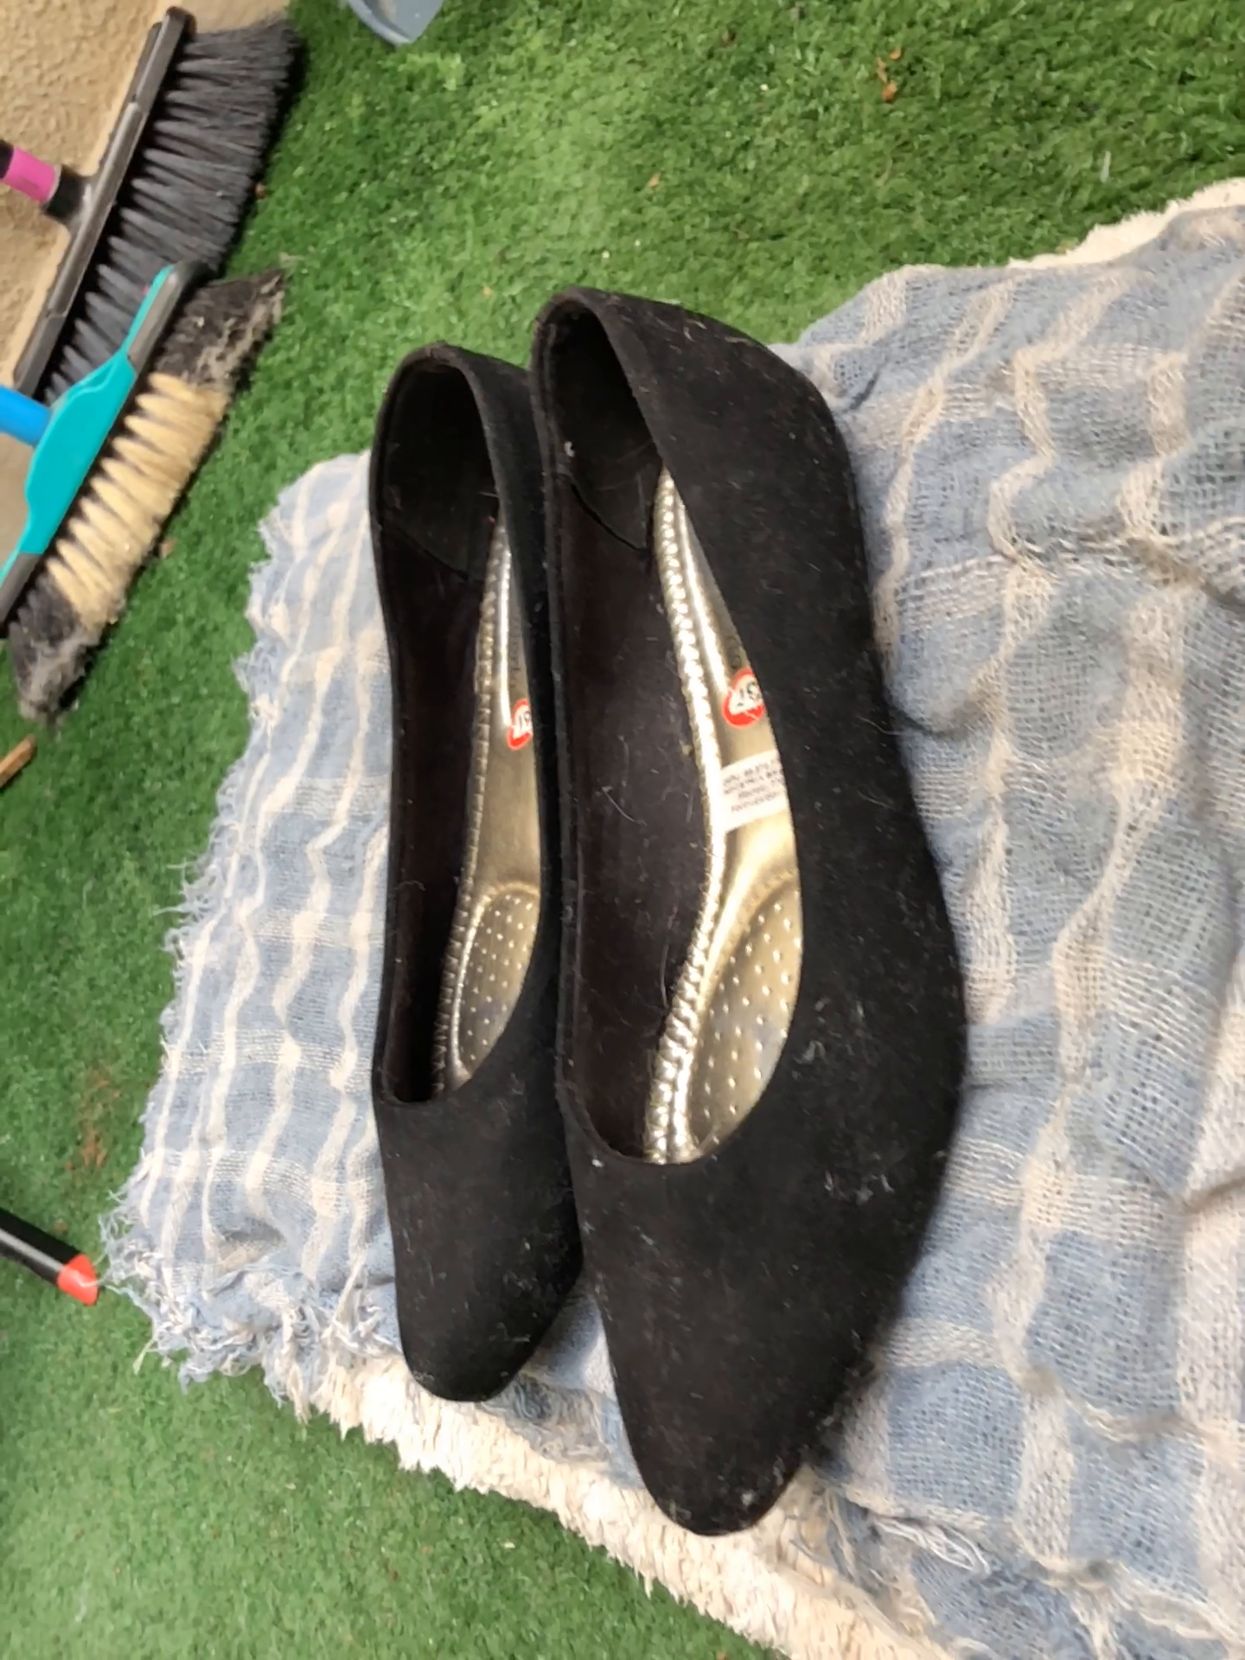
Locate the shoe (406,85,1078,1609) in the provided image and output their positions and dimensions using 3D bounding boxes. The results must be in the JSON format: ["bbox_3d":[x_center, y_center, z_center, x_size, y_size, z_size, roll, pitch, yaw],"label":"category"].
[{"bbox_3d":[0.021,-0.002,0.291,0.090,0.080,0.270,-18,65,43],"label":"shoe"}]

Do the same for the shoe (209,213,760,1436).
[{"bbox_3d":[-0.029,-0.001,0.352,0.090,0.080,0.270,-13,68,45],"label":"shoe"}]
